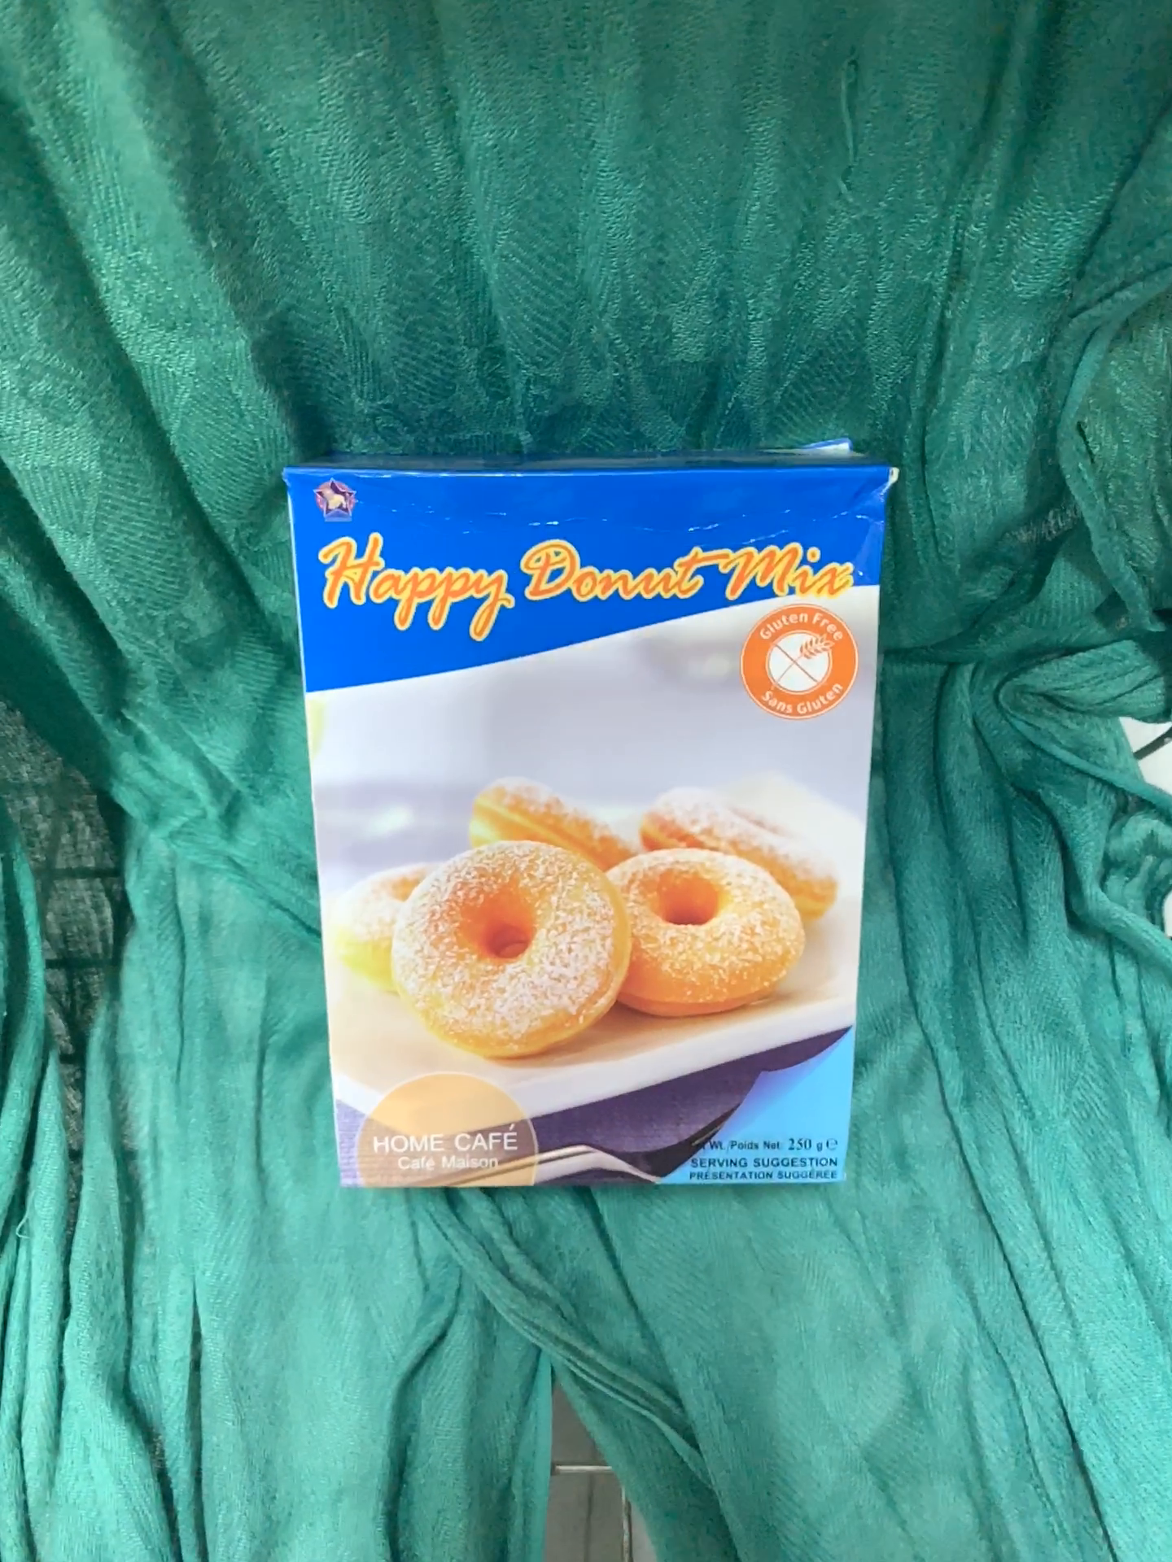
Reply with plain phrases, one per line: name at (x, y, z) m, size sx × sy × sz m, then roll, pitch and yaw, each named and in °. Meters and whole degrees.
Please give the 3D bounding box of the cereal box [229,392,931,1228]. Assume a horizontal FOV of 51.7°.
cereal box at (-0.001, 0.006, 0.279) m, size 0.130 × 0.060 × 0.180 m, roll -1°, pitch 107°, yaw -1°
